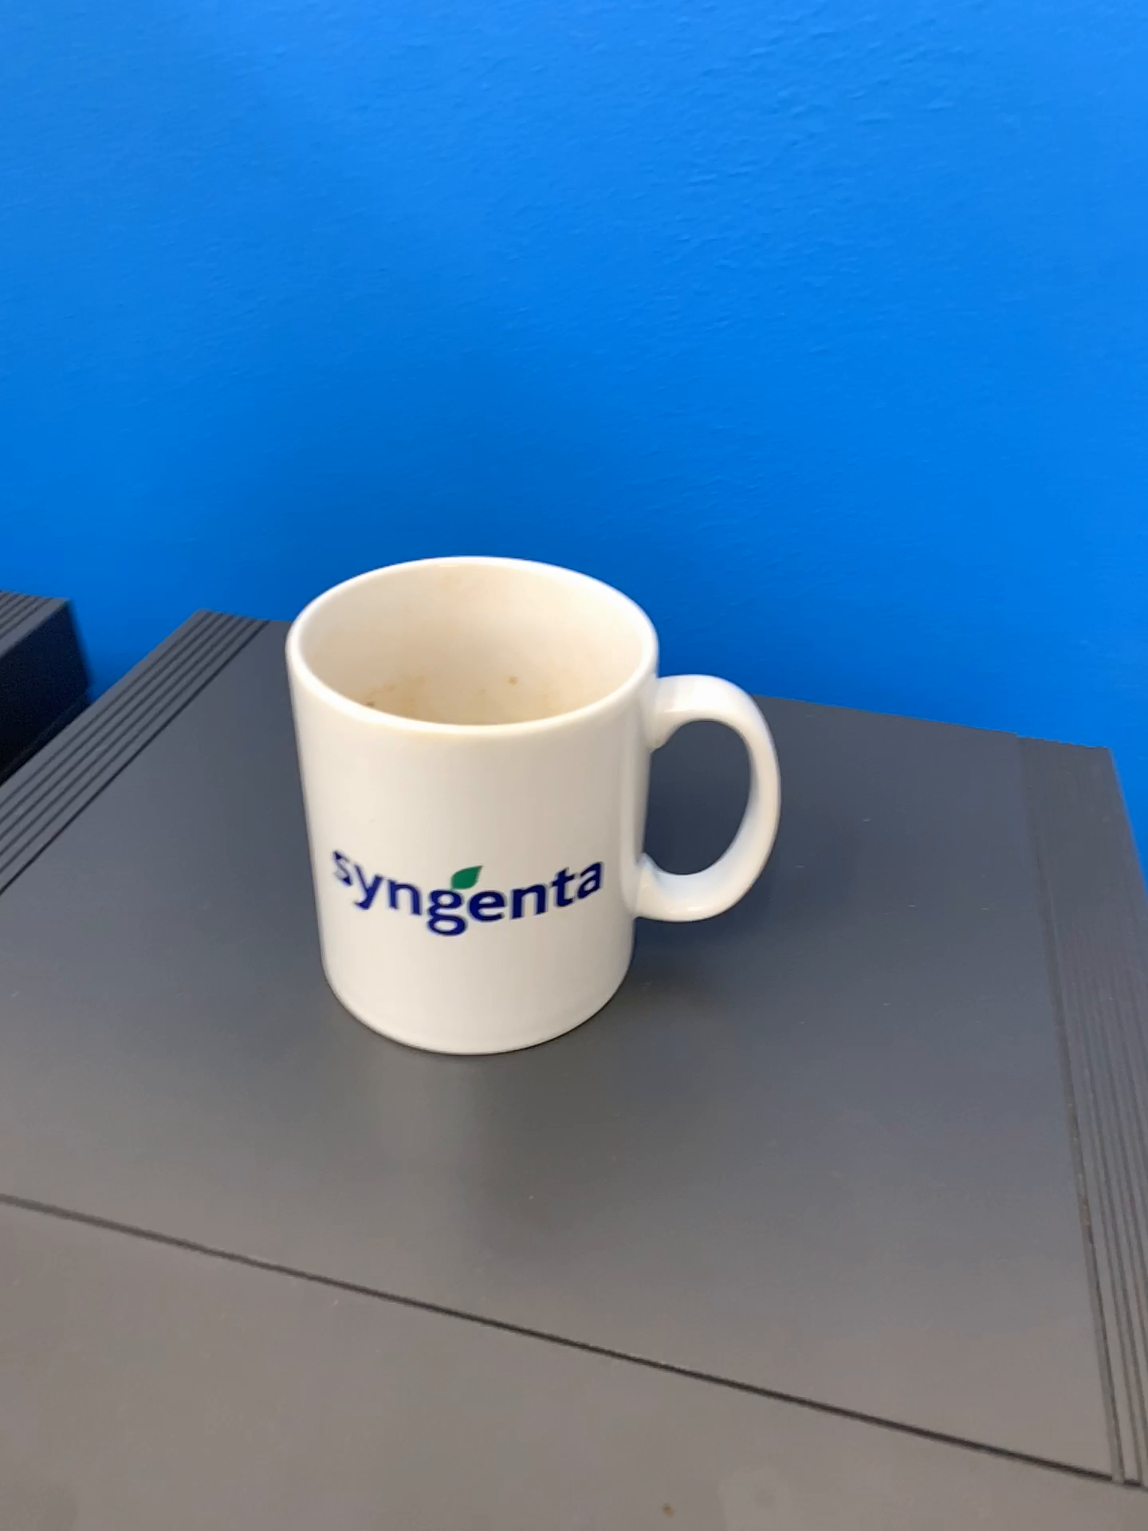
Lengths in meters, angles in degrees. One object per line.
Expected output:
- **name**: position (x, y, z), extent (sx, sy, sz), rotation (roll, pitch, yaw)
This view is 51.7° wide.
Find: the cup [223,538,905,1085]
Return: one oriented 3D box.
- **cup**: position (-0.003, 0.009, 0.290), extent (0.131, 0.094, 0.089), rotation (3, 35, 0)
